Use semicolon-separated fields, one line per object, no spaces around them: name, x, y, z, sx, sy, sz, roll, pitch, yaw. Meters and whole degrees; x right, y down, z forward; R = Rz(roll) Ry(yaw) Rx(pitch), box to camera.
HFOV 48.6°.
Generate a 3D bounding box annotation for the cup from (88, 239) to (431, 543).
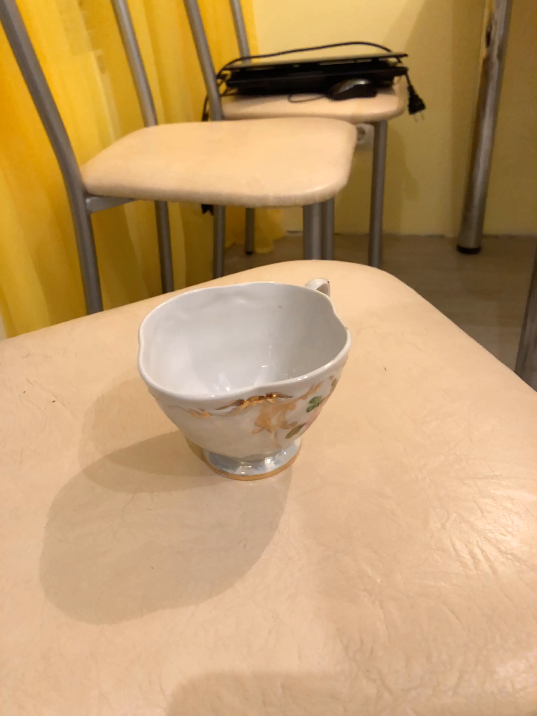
cup;0.003;0.003;0.301;0.100;0.064;0.140;20;39;32
